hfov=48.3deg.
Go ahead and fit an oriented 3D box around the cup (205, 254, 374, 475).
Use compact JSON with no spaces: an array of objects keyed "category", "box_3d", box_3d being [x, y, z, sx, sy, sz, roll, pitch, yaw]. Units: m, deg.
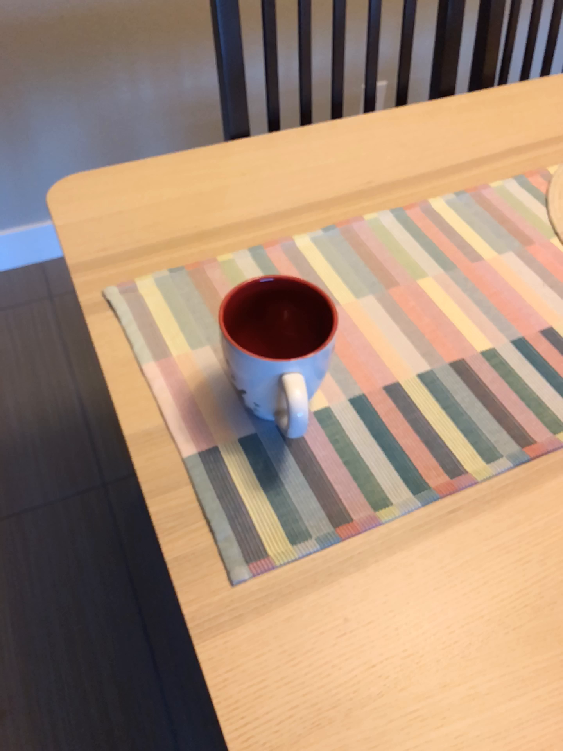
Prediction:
[{"category":"cup","box_3d":[0.000,-0.012,0.499,0.100,0.090,0.140,-7,51,-8]}]
